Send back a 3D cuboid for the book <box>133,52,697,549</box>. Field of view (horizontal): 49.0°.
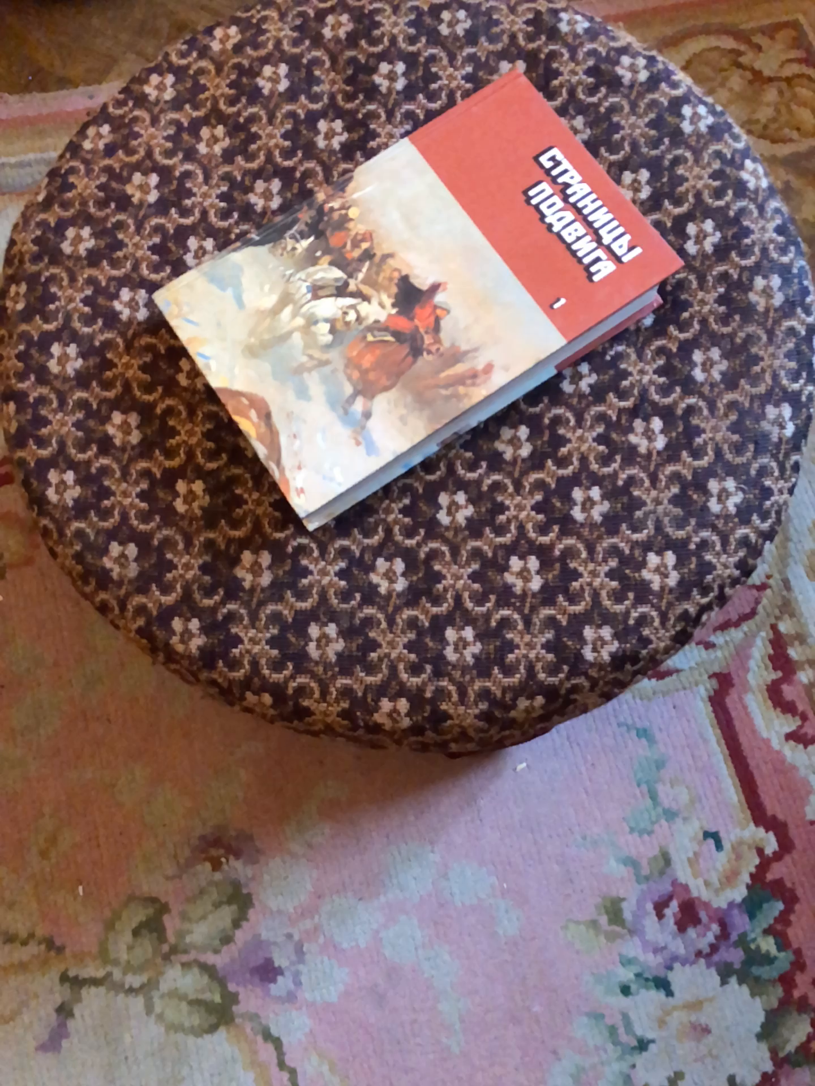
[{"bbox_3d":[0.003,-0.112,0.408,0.206,0.040,0.134,-34,77,-6],"label":"book"}]
